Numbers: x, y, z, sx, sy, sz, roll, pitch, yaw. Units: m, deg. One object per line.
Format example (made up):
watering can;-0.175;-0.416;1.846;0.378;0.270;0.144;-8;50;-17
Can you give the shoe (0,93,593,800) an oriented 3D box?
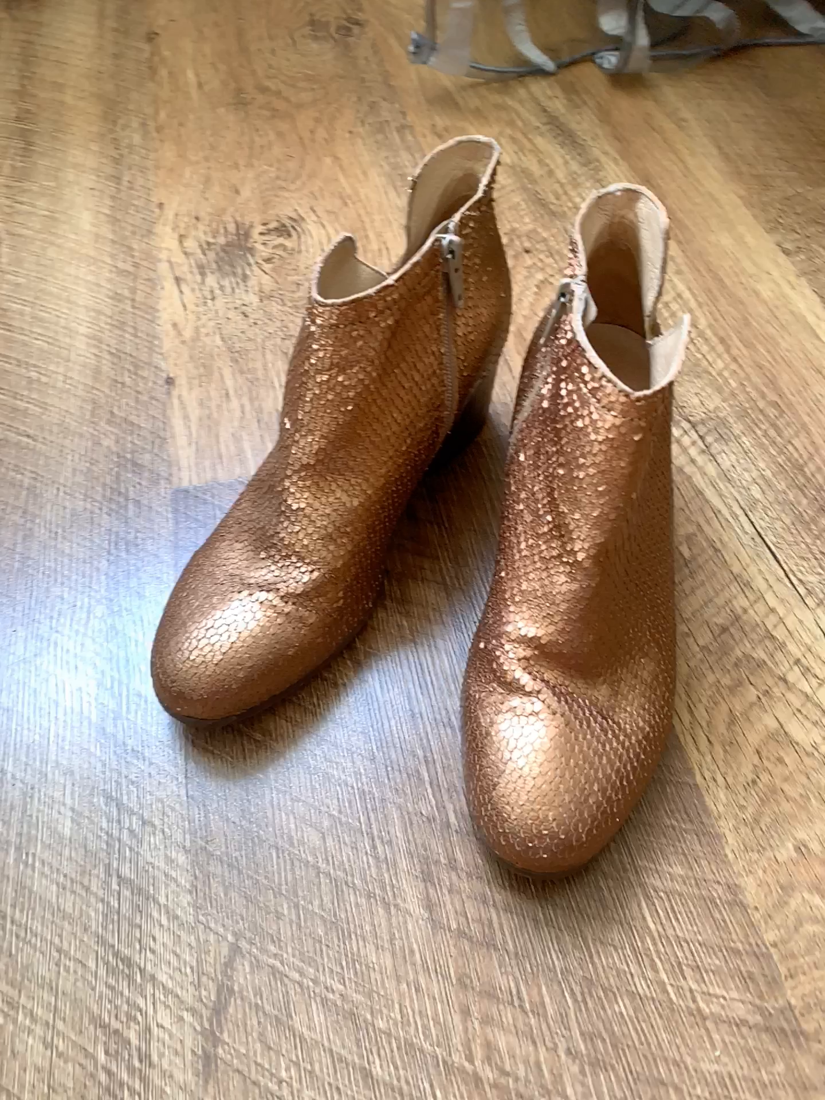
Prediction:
shoe;-0.030;-0.045;0.307;0.080;0.130;0.220;27;57;19

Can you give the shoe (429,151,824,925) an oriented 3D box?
shoe;0.064;-0.013;0.287;0.080;0.130;0.221;8;53;6
